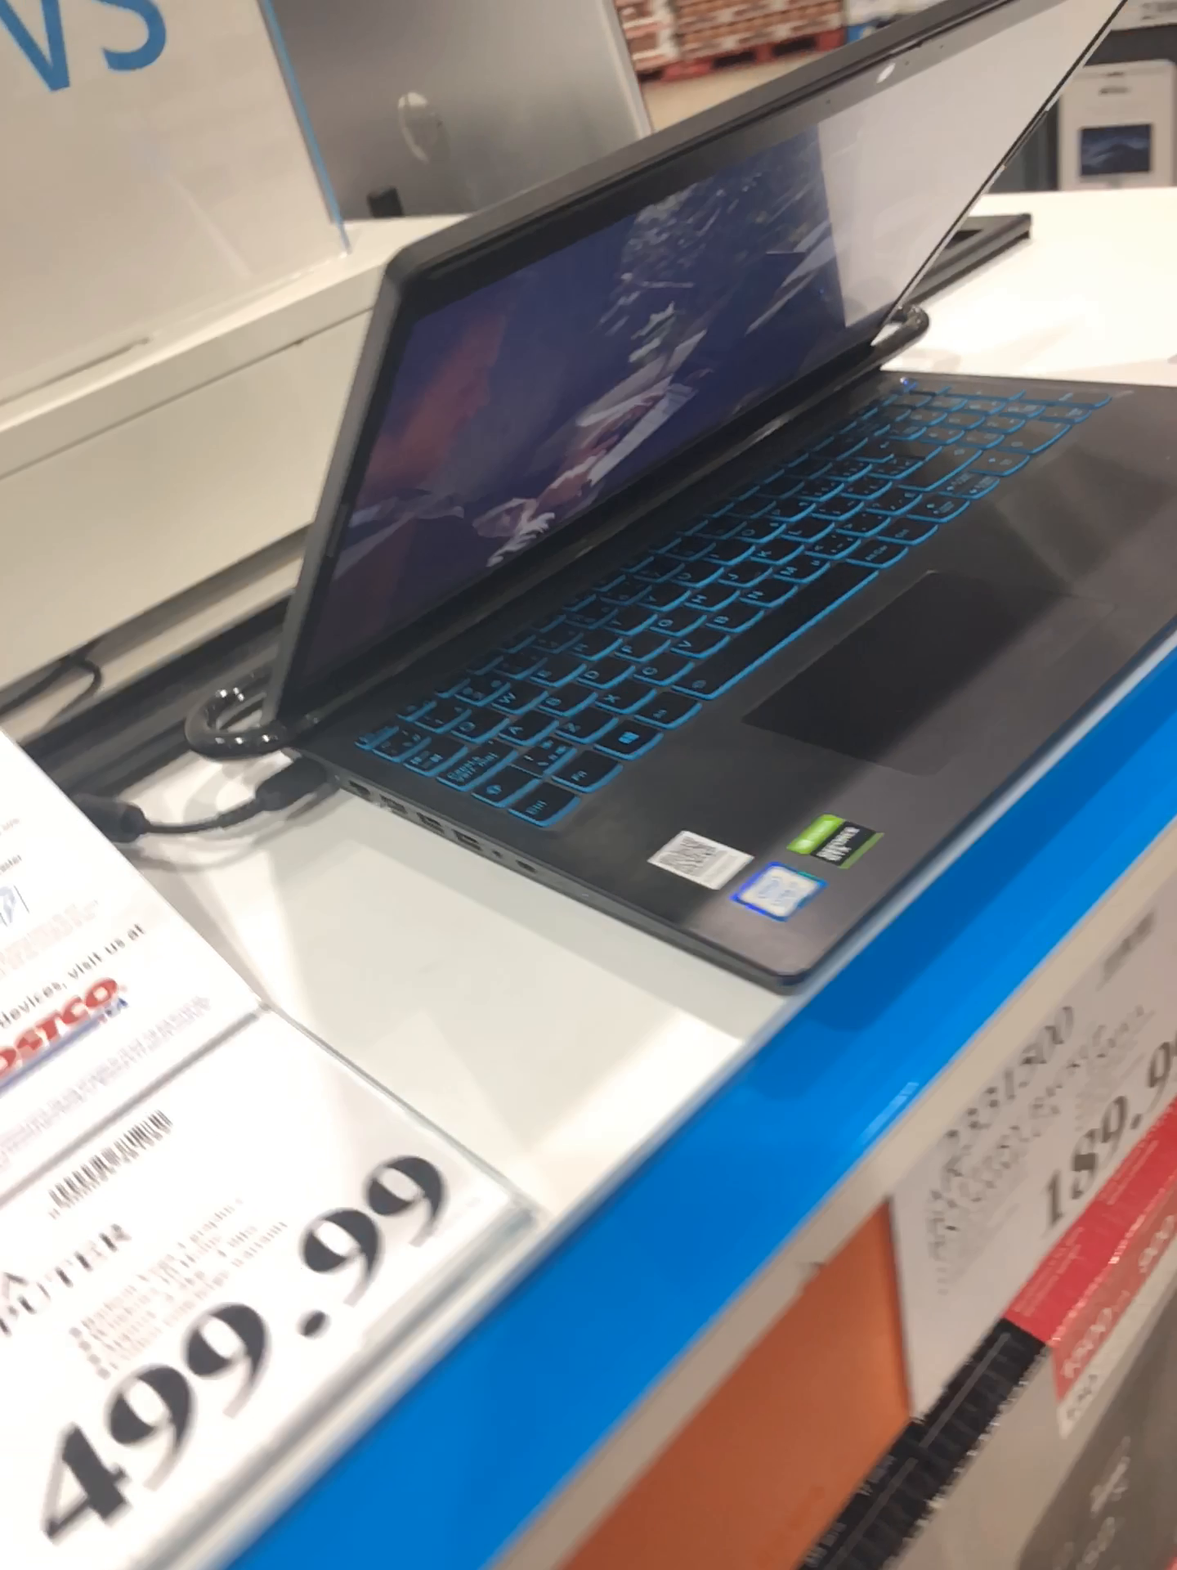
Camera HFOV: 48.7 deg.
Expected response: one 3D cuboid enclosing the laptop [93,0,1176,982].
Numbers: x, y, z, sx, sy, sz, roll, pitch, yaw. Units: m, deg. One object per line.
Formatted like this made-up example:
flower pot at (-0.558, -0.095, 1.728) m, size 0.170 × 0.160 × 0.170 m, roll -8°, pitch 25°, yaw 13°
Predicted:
laptop at (0.072, -0.147, 0.430) m, size 0.344 × 0.170 × 0.241 m, roll -37°, pitch 38°, yaw -29°
